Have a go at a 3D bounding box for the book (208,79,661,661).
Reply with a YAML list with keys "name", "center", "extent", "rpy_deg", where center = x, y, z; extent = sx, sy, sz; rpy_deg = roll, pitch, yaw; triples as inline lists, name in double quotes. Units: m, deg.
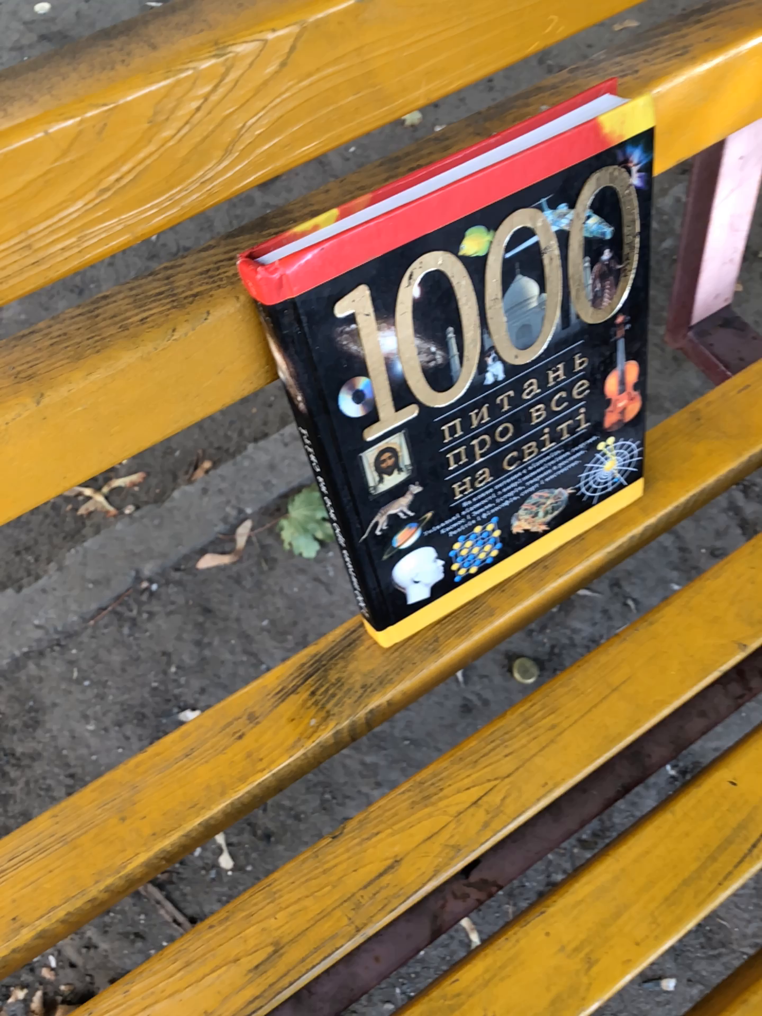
- name: "book"
  center: [0.043, -0.047, 0.366]
  extent: [0.172, 0.201, 0.032]
  rpy_deg: [-30, 44, -13]
